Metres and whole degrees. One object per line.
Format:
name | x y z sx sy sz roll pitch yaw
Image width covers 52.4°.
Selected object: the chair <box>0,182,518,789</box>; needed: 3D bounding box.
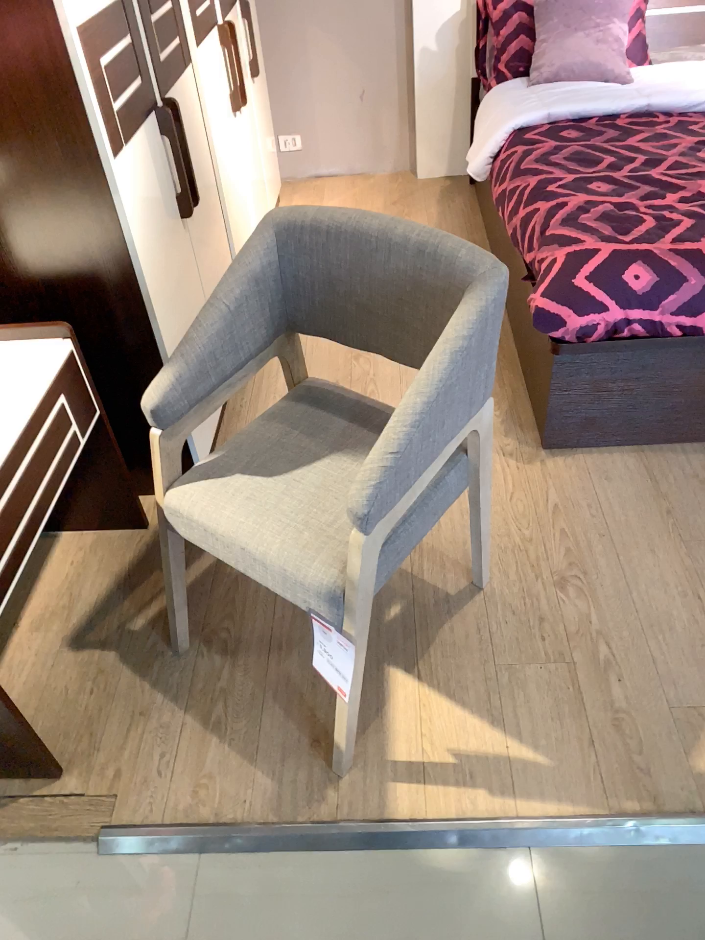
chair | -0.110 0.011 1.322 0.561 0.797 0.581 24 50 30
